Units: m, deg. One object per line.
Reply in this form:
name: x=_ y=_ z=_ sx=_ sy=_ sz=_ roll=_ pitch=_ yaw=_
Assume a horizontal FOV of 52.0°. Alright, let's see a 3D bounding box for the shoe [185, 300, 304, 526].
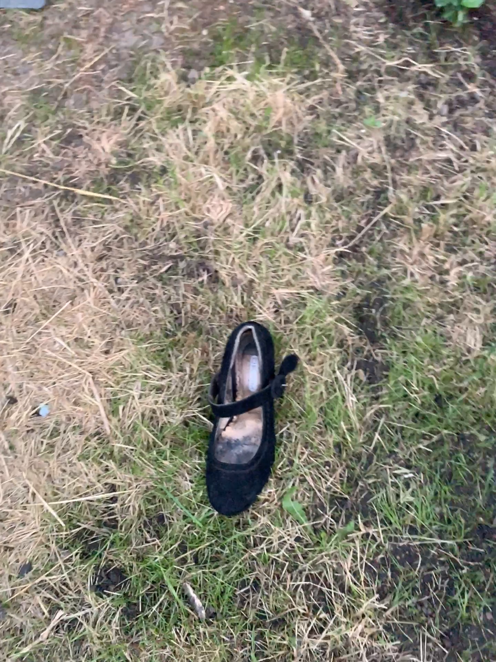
shoe: x=0.002 y=0.103 z=0.638 sx=0.110 sy=0.109 sz=0.251 roll=5 pitch=68 yaw=3
